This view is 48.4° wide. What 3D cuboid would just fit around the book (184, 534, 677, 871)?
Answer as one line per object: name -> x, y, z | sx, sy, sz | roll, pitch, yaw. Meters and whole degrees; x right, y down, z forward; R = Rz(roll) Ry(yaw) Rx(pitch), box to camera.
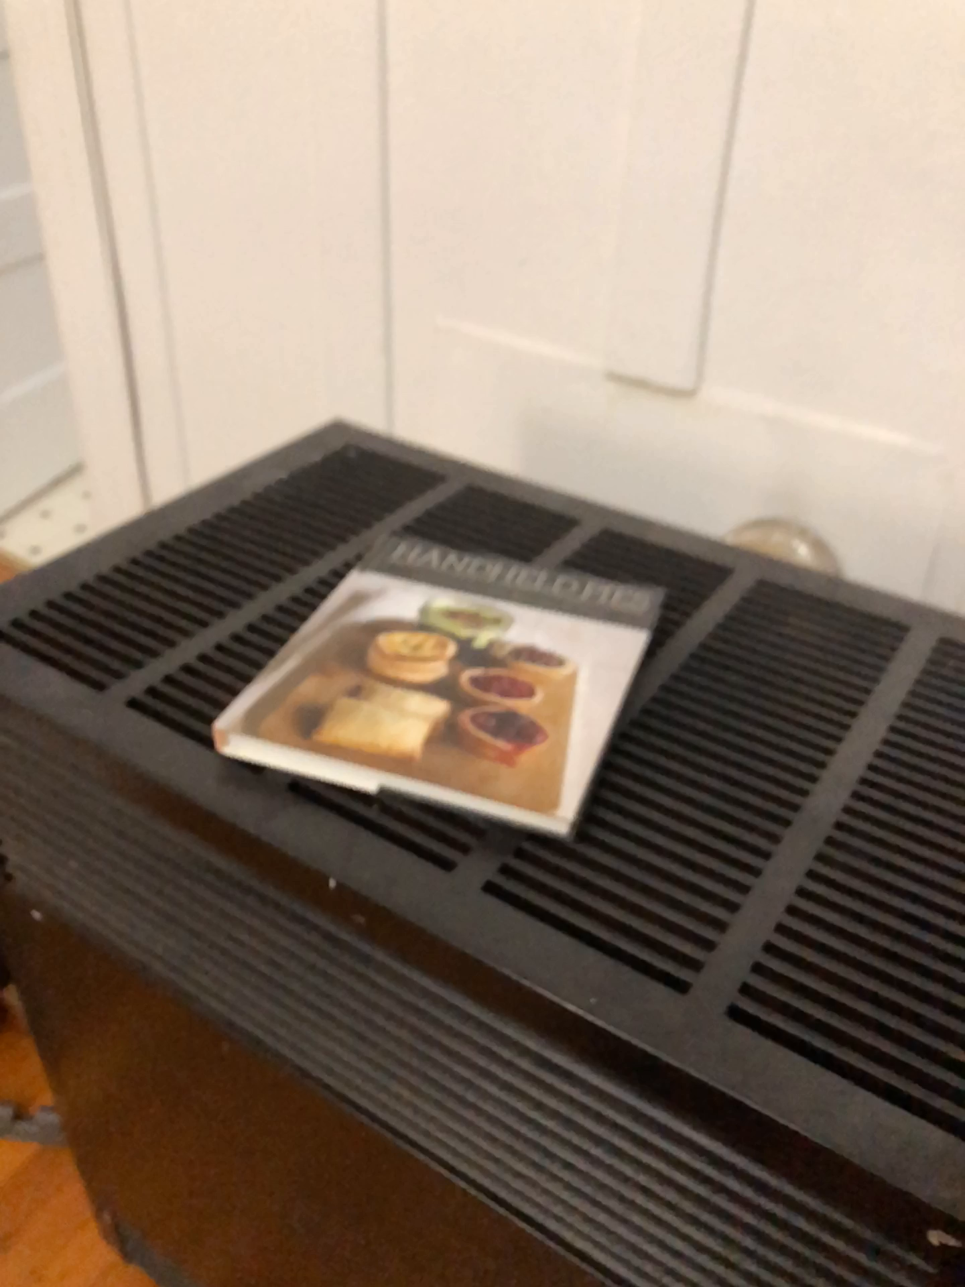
book -> -0.014, 0.015, 0.596 | 0.200, 0.020, 0.231 | 11, 35, 16
